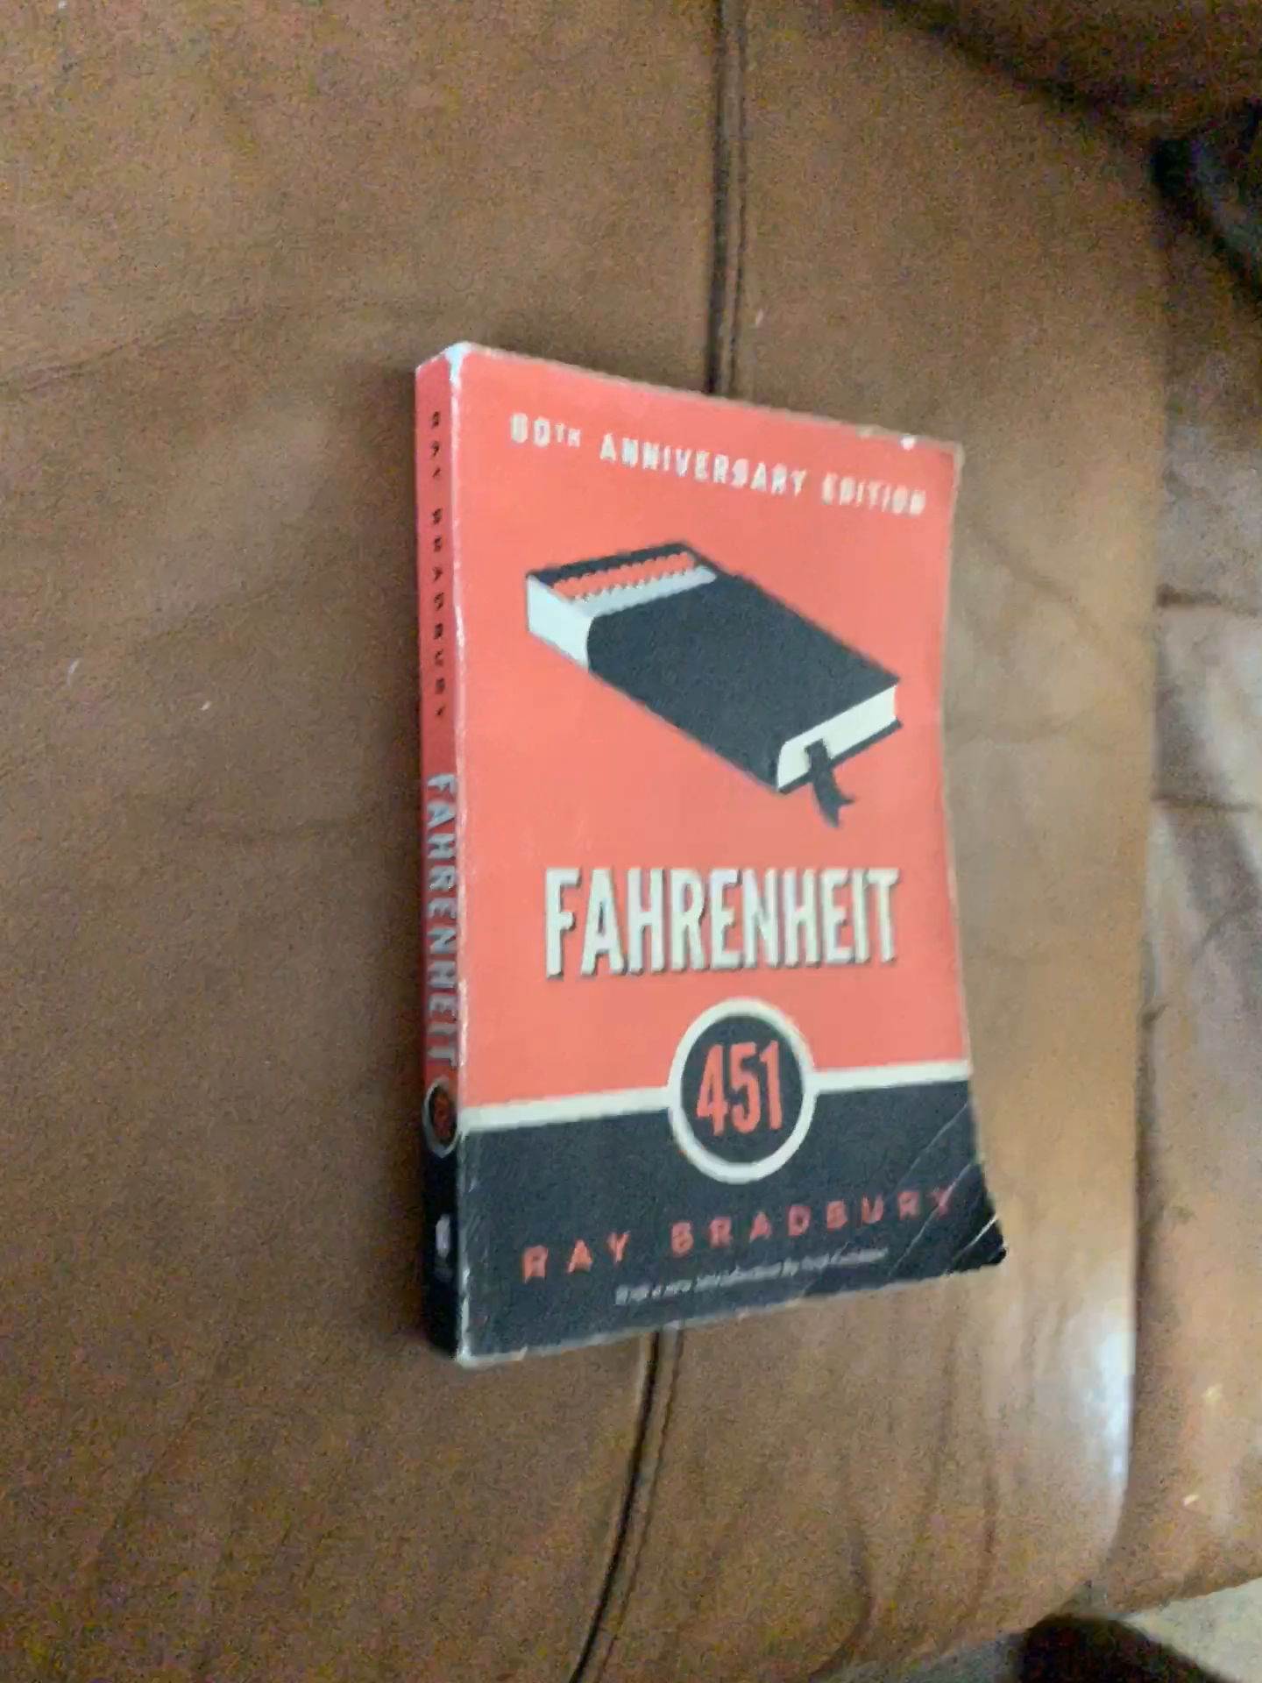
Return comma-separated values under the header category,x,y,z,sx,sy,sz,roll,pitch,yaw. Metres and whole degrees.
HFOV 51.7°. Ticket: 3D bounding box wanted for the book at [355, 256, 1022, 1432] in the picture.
category,x,y,z,sx,sy,sz,roll,pitch,yaw
book,0.018,-0.001,0.303,0.151,0.040,0.220,0,85,-36
